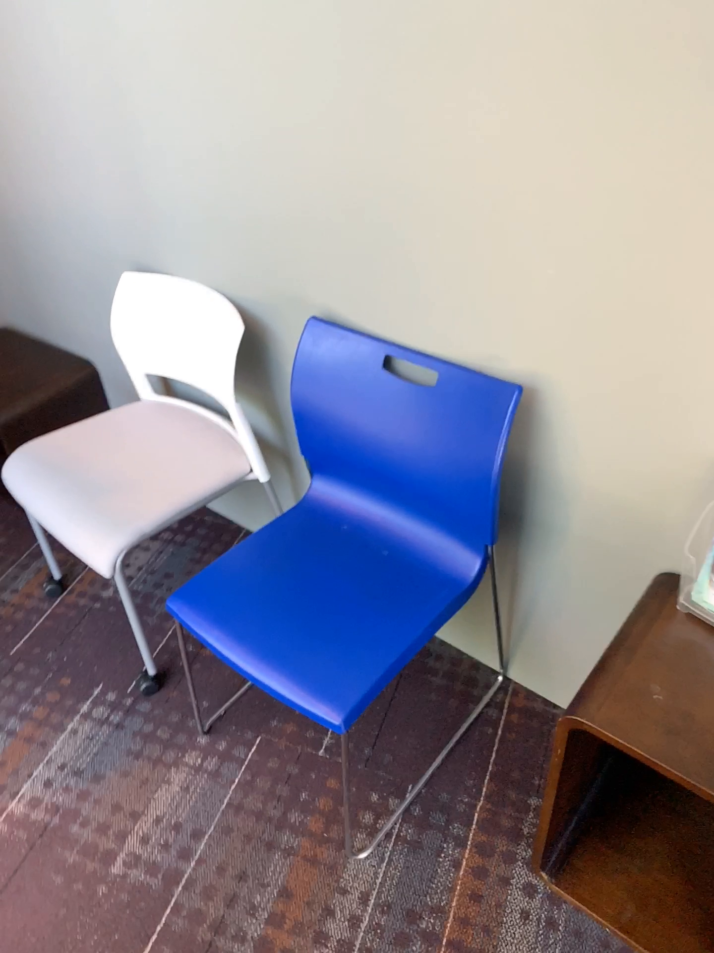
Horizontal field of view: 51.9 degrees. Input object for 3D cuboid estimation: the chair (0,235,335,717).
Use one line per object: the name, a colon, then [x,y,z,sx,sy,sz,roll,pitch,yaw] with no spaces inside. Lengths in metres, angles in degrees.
chair: [-0.454,-0.015,1.712,0.592,0.795,0.562,22,44,22]

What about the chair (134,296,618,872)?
chair: [0.046,0.168,1.508,0.592,0.796,0.621,25,41,33]
